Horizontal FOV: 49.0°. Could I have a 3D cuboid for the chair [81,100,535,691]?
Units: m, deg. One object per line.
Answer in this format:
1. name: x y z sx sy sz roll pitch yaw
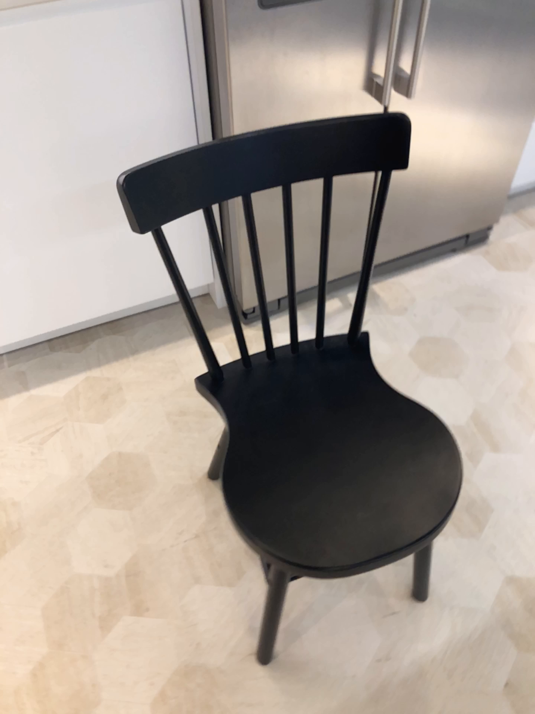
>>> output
1. chair: 0.065 0.100 0.960 0.480 0.746 0.513 -15 51 -12
